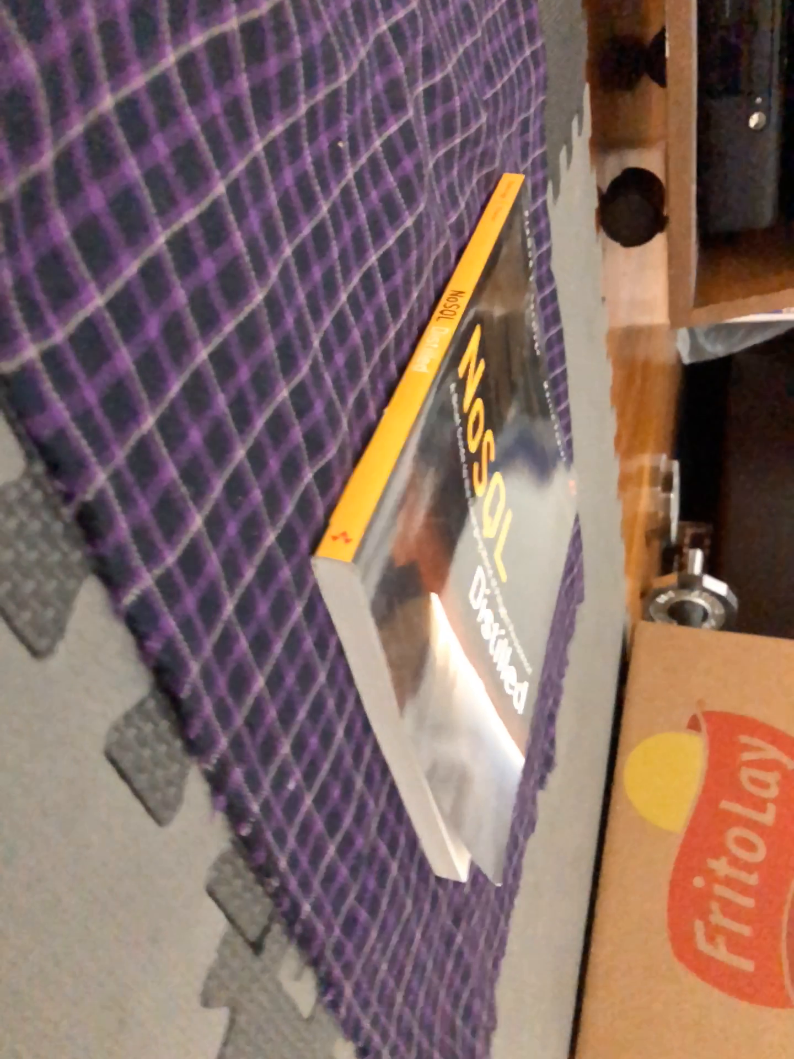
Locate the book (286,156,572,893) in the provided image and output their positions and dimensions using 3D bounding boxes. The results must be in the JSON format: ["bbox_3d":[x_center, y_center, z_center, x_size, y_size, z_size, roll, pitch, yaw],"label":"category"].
[{"bbox_3d":[0.037,-0.012,0.373,0.251,0.020,0.190,-68,151,-42],"label":"book"}]
